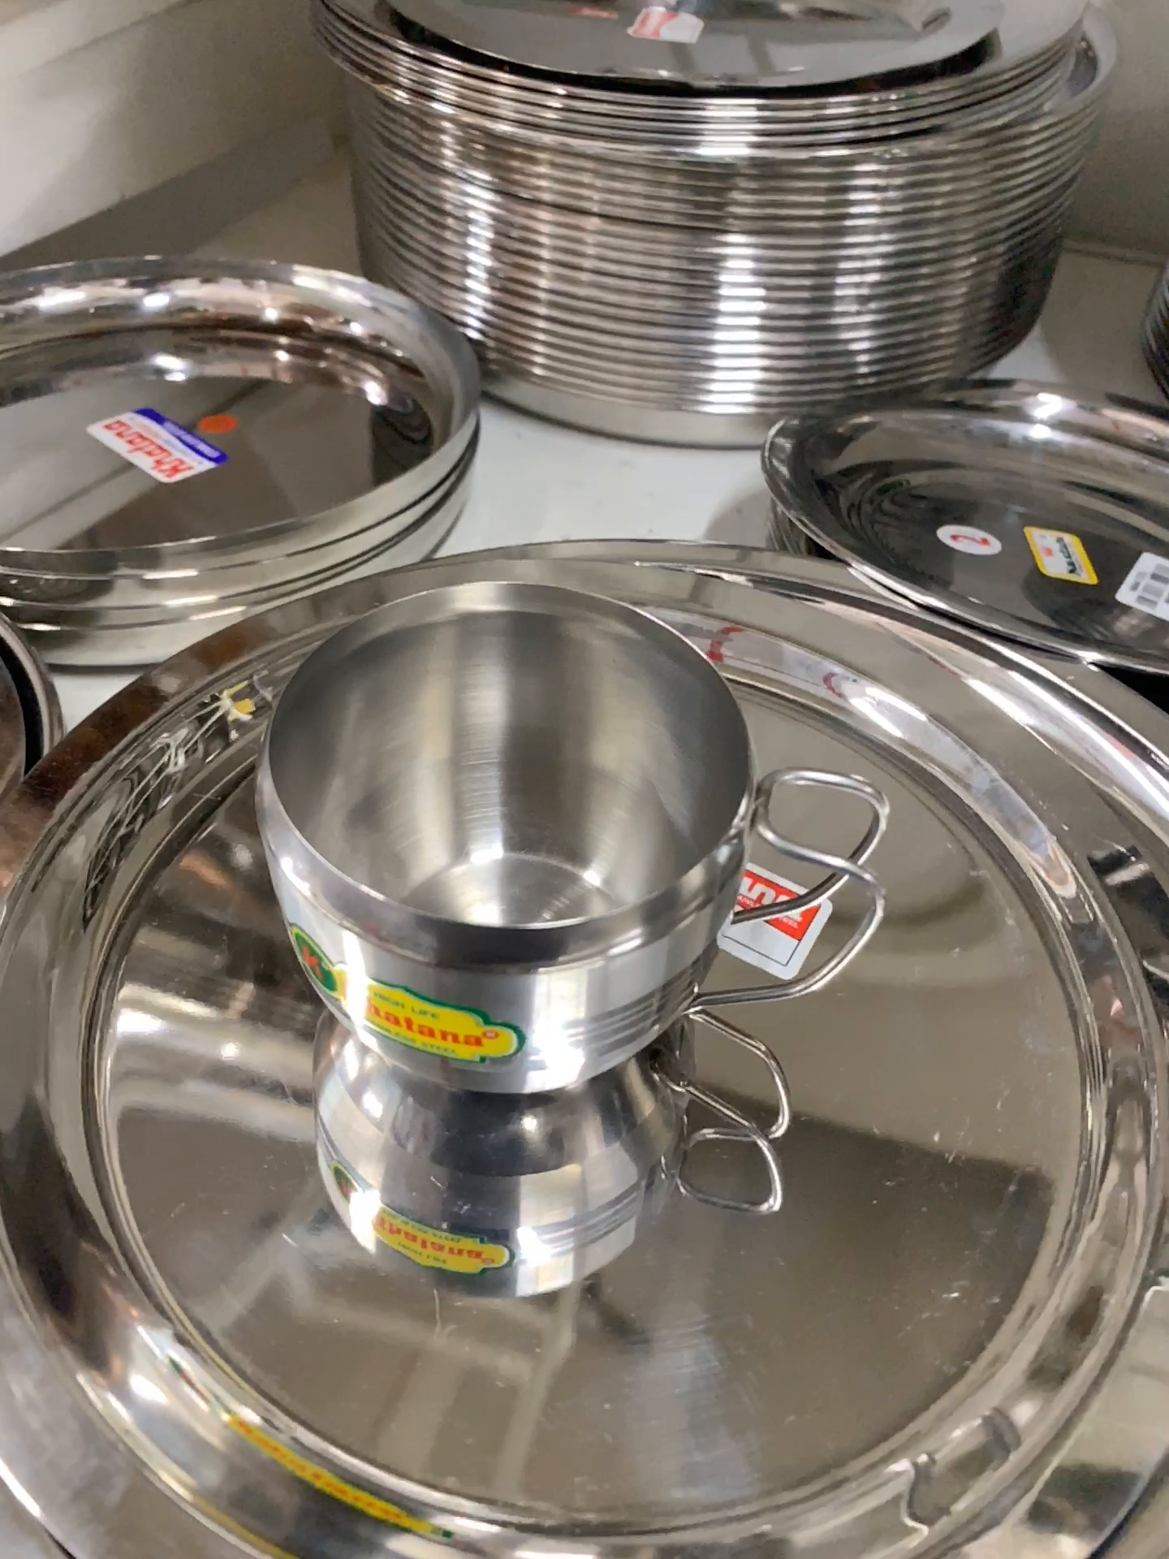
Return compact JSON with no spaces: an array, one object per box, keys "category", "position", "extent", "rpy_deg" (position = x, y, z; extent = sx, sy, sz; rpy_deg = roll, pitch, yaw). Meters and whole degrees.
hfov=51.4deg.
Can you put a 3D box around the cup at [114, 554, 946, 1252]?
[{"category":"cup","position":[-0.002,0.012,0.169],"extent":[0.090,0.040,0.070],"rpy_deg":[11,46,9]}]
